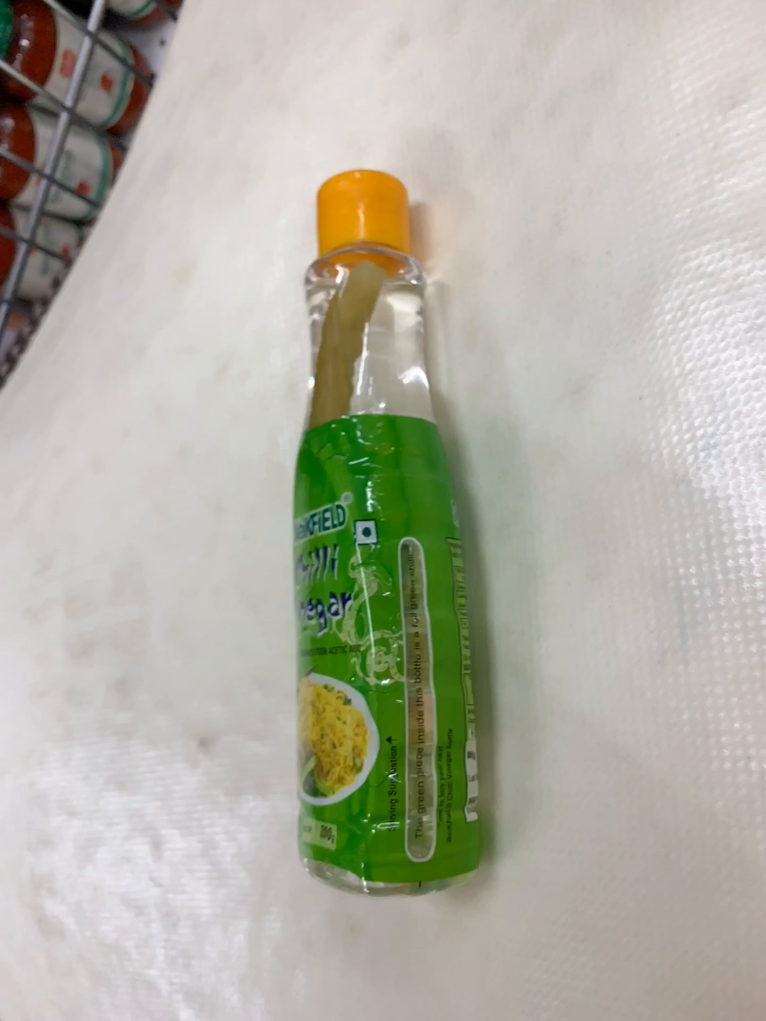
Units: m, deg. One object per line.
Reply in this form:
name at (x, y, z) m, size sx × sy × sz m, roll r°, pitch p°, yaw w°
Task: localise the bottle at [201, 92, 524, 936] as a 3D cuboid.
bottle at (-0.011, -0.001, 0.206) m, size 0.060 × 0.040 × 0.180 m, roll -18°, pitch 76°, yaw 57°
